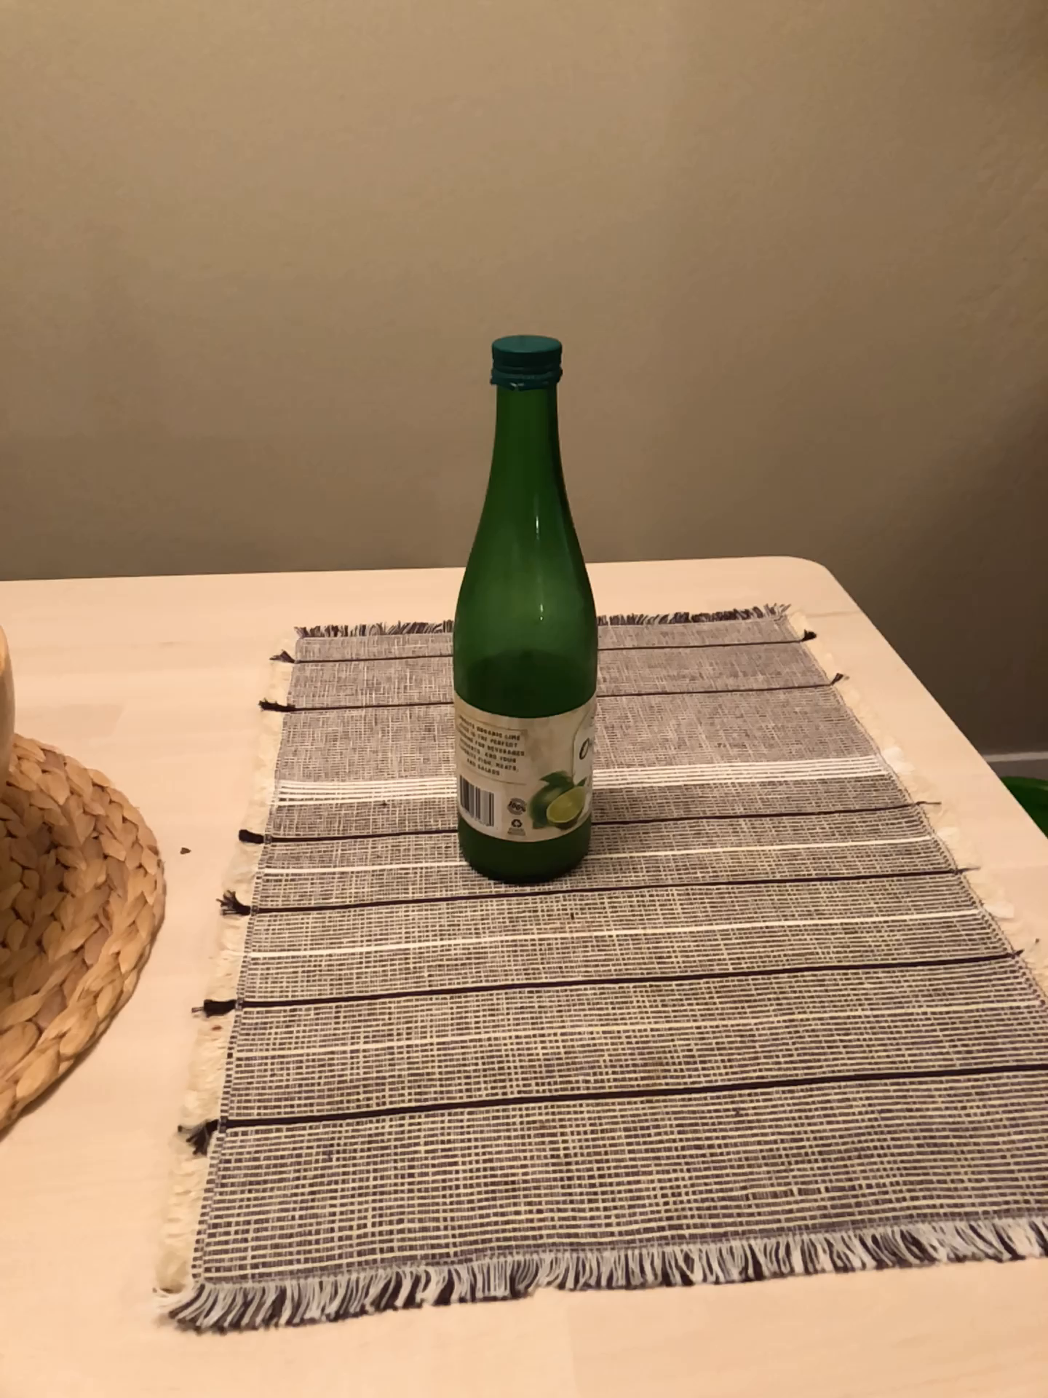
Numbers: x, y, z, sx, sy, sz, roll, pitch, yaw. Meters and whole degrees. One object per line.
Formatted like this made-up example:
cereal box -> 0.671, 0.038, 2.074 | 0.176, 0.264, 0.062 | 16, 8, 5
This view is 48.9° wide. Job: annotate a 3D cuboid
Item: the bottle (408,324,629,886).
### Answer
bottle -> 0.001, -0.038, 0.518 | 0.081, 0.236, 0.080 | 0, 28, 0
